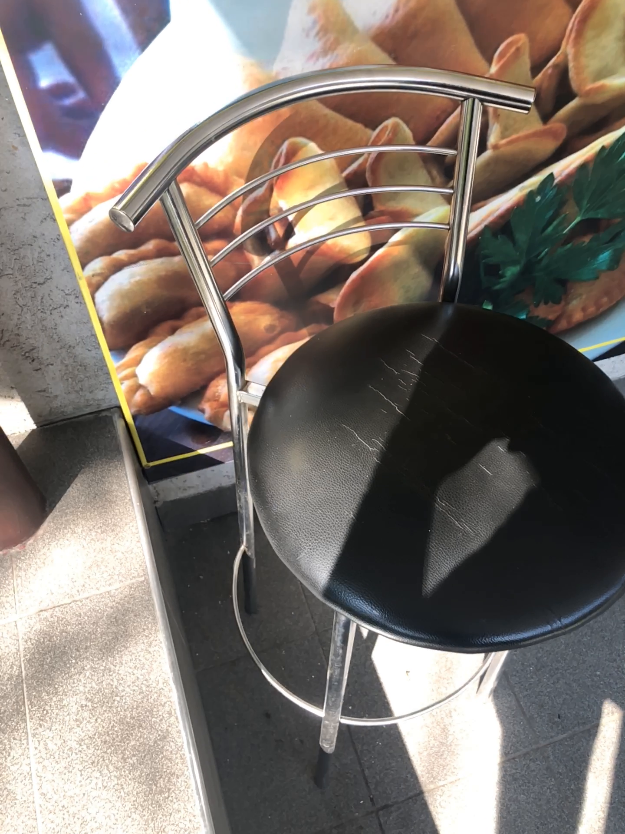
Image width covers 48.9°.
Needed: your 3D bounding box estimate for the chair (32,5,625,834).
[{"bbox_3d":[0.097,0.134,0.859,0.481,0.937,0.481,-22,58,-16],"label":"chair"}]
